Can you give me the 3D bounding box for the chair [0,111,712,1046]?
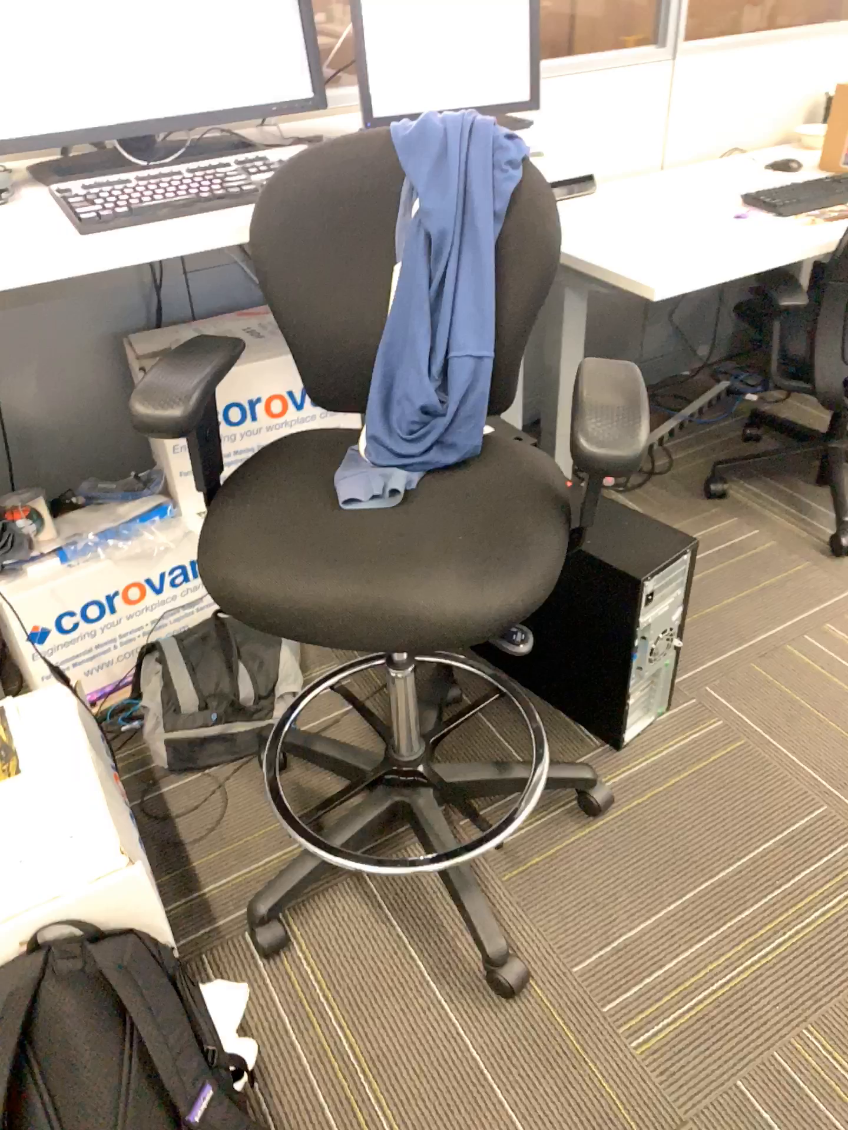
[{"bbox_3d":[-0.028,-0.033,1.345,0.741,1.063,0.844,8,37,14],"label":"chair"}]
